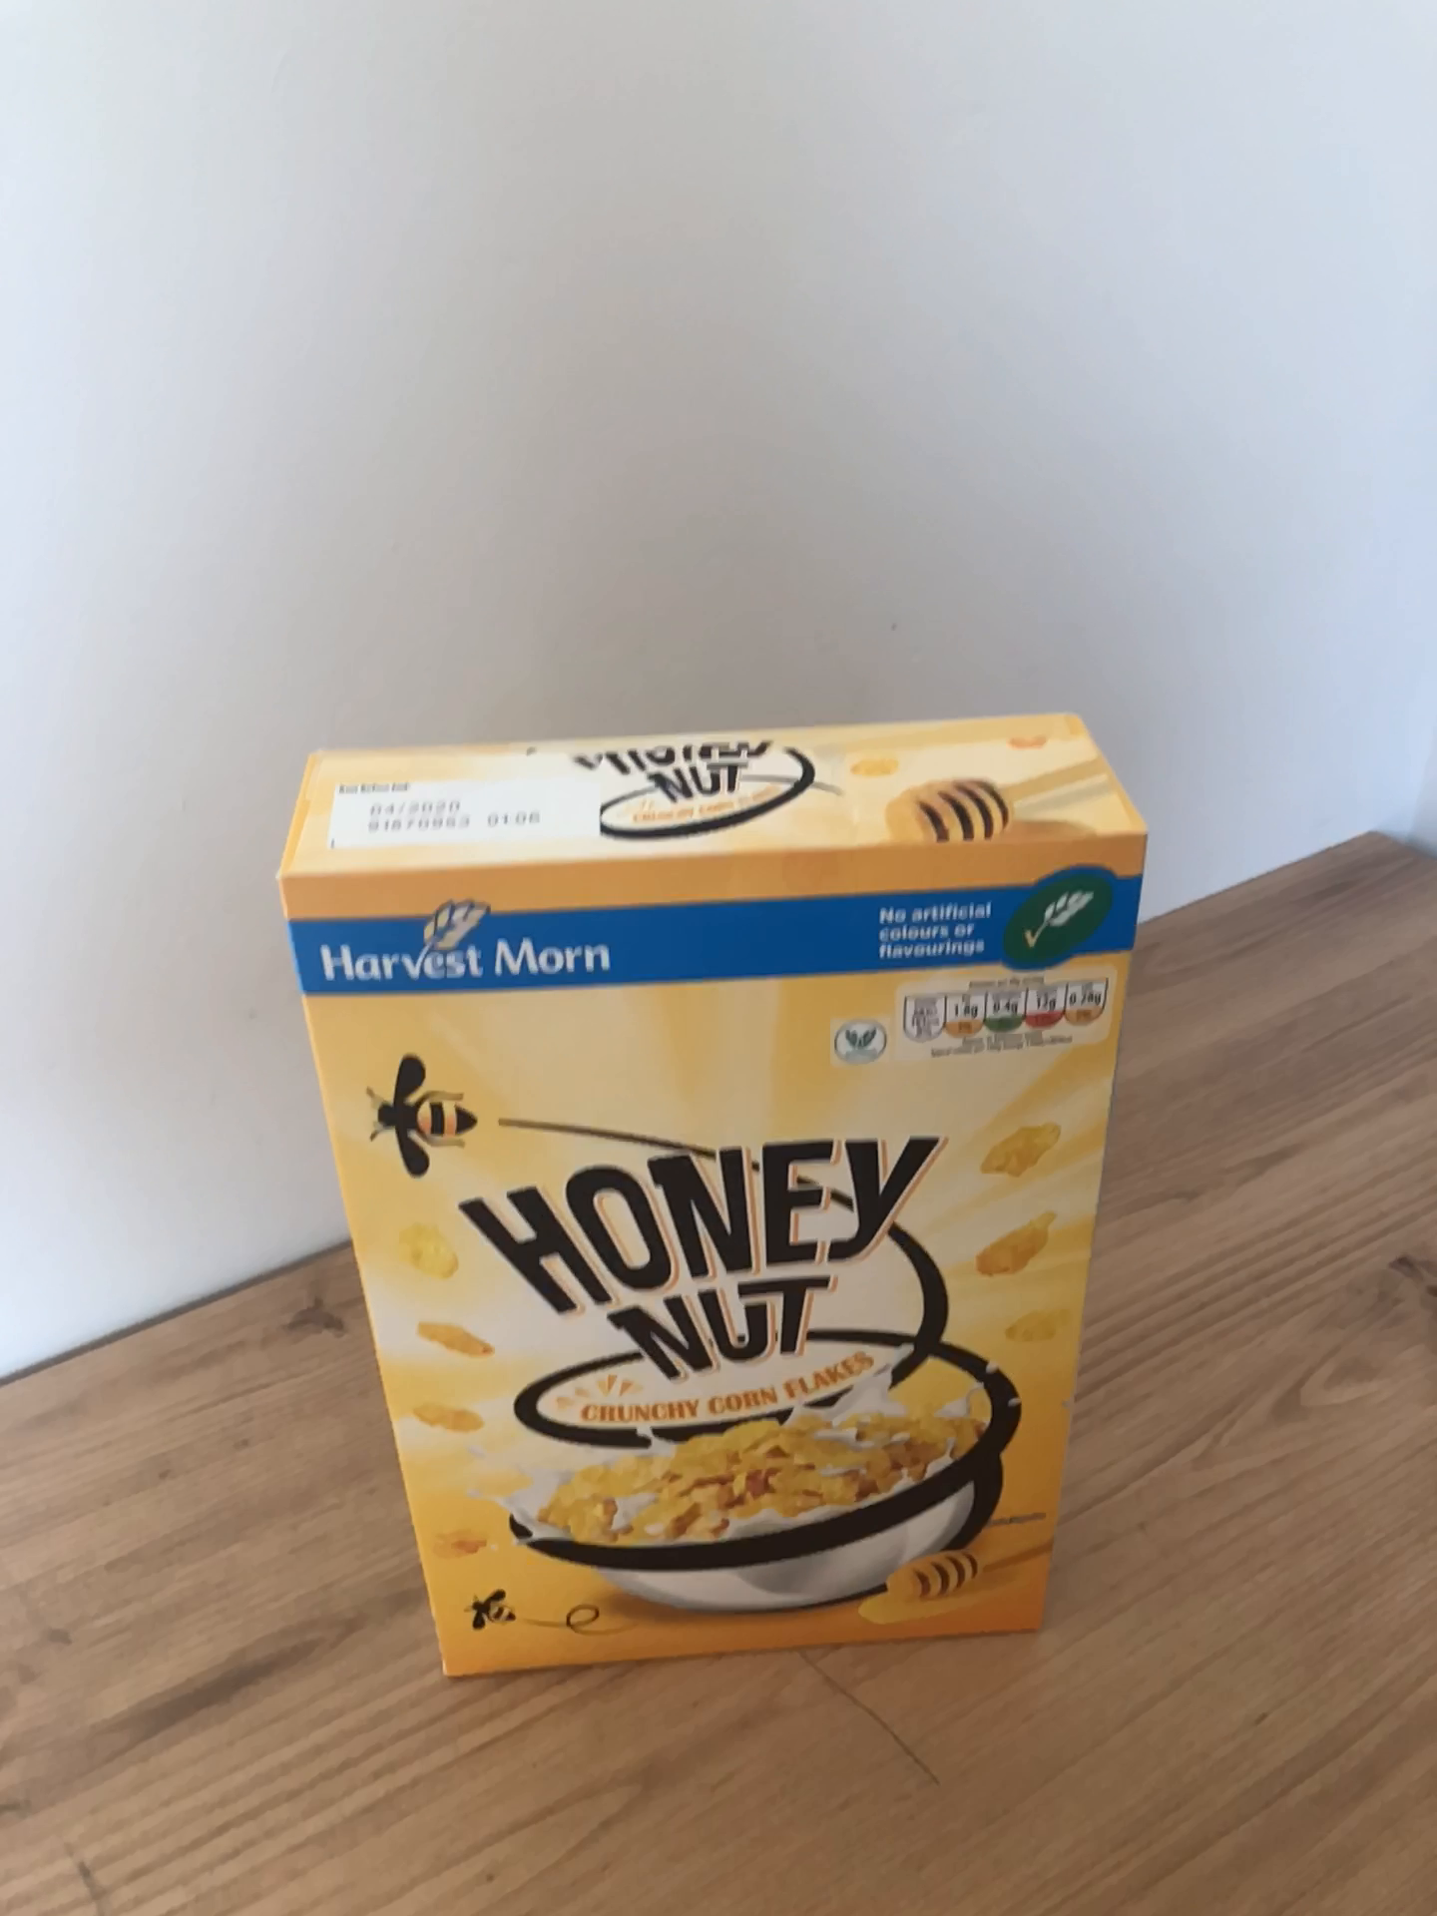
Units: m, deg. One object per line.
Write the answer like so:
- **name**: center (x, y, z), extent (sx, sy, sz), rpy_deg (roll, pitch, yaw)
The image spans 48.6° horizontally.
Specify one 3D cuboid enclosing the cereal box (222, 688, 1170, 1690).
- **cereal box**: center (-0.001, 0.081, 0.443), extent (0.200, 0.298, 0.060), rpy_deg (-3, 33, -2)
